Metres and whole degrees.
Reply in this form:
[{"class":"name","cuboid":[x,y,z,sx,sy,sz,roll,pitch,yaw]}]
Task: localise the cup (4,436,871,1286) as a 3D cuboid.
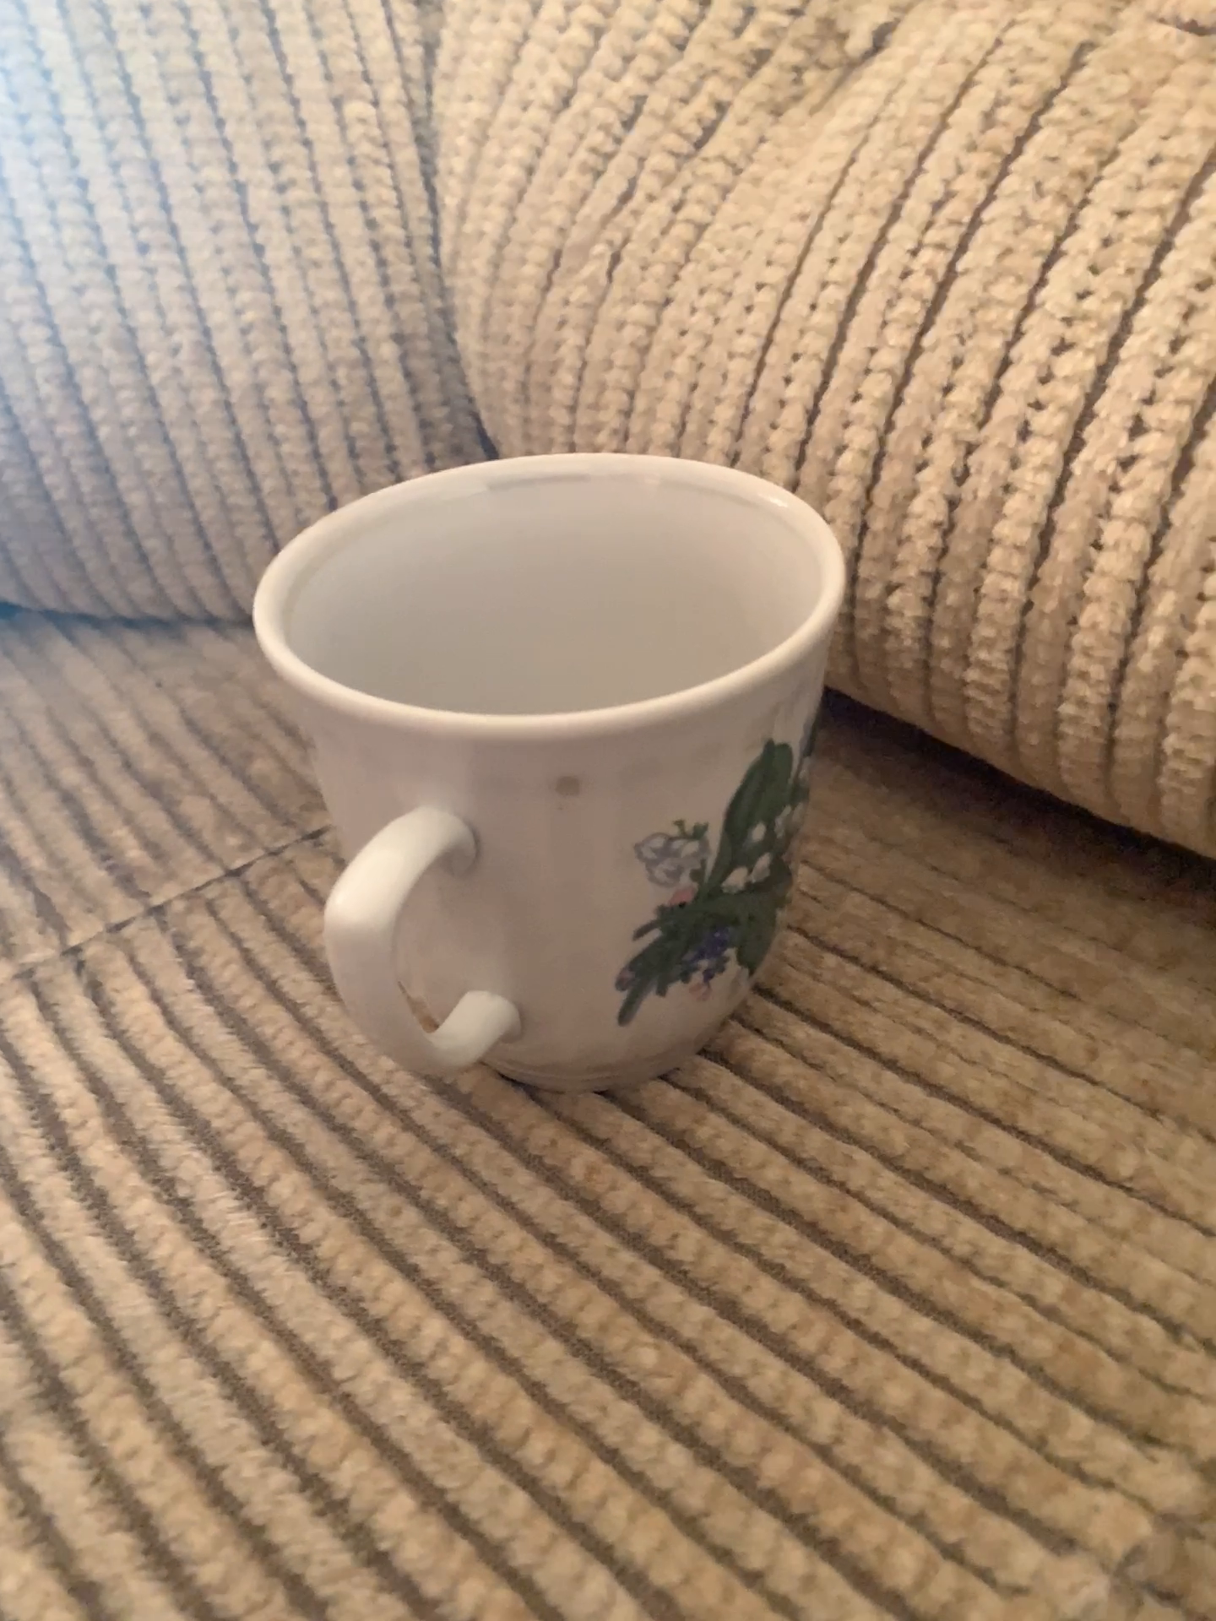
[{"class":"cup","cuboid":[-0.011,-0.004,0.202,0.095,0.077,0.113,6,31,9]}]
